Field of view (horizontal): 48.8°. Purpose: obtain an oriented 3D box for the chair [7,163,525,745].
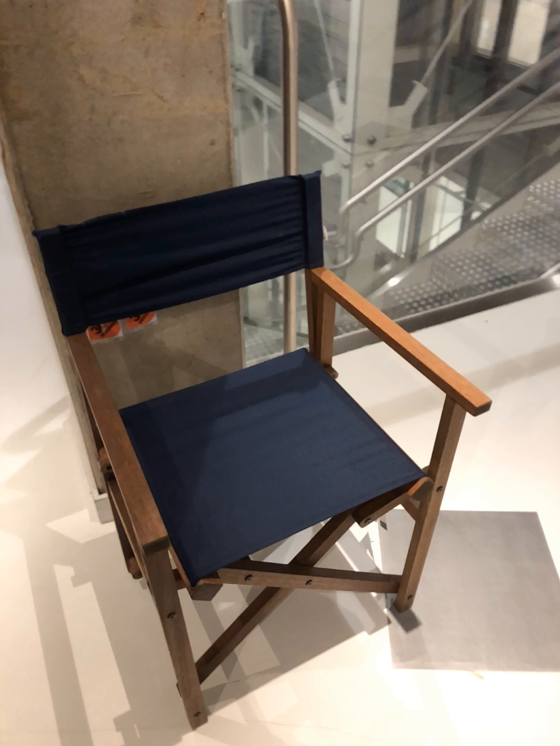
[{"bbox_3d":[-0.049,0.133,1.123,0.581,0.773,0.503,-18,42,-20],"label":"chair"}]
